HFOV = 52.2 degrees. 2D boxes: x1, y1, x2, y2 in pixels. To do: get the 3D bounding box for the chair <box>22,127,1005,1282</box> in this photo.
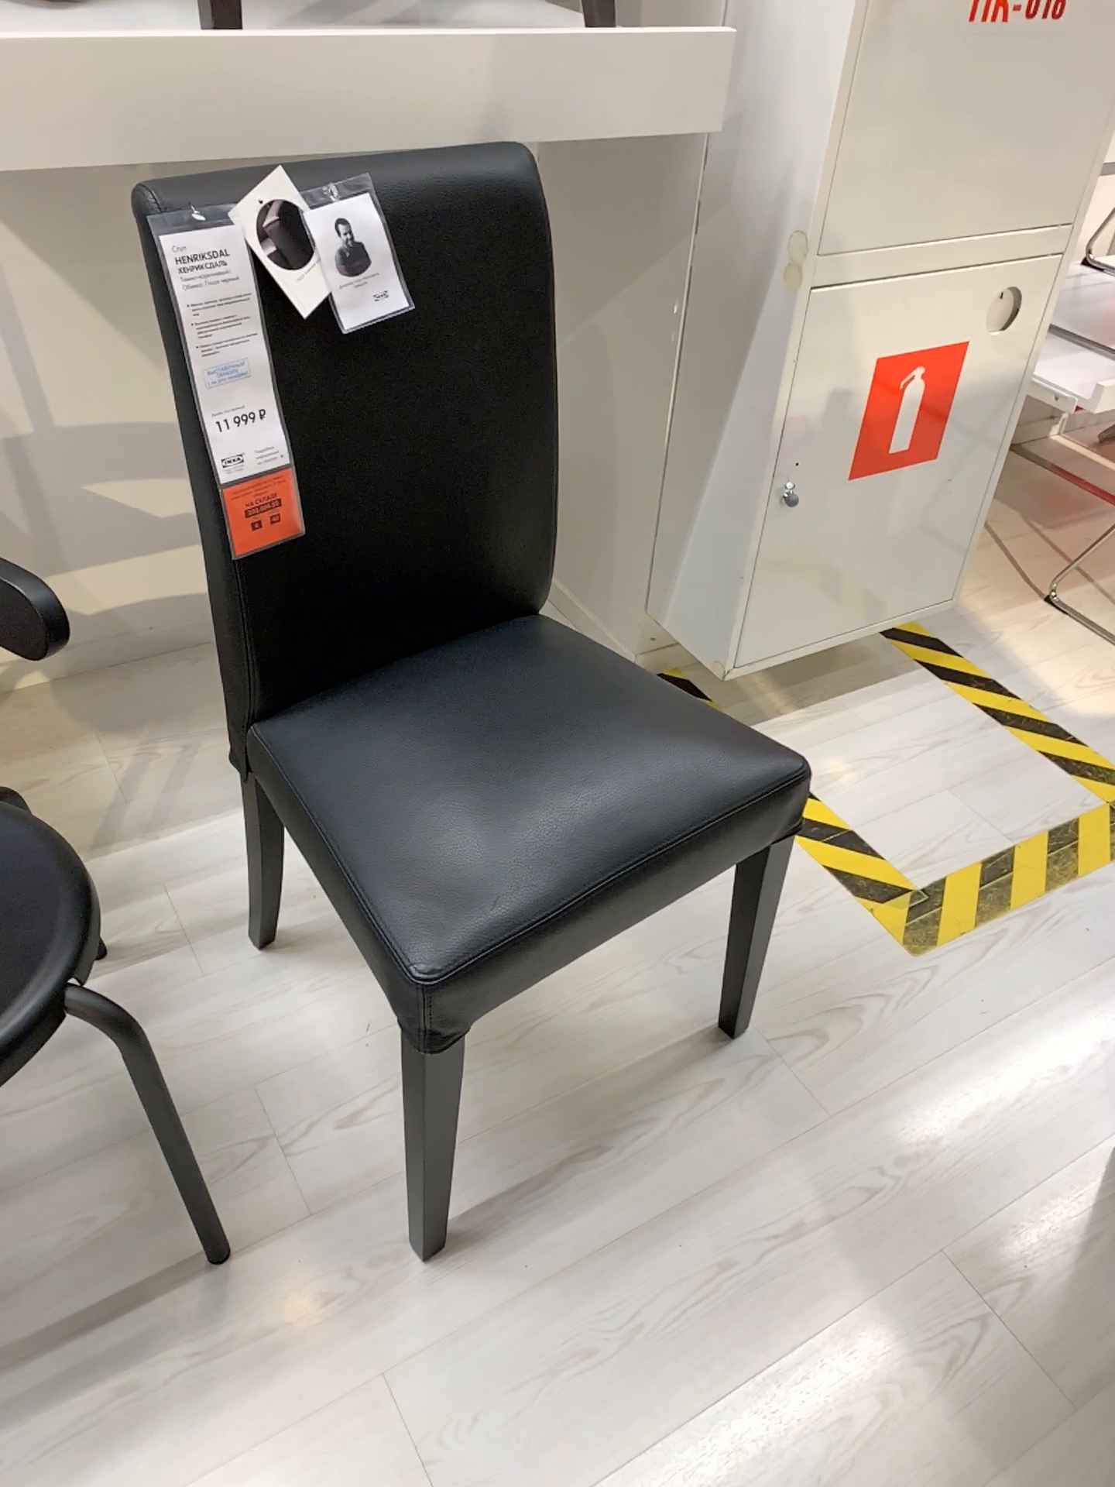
[{"bbox_3d":[-0.078,-0.057,1.261,0.582,0.974,0.602,-25,47,-33],"label":"chair"}]
